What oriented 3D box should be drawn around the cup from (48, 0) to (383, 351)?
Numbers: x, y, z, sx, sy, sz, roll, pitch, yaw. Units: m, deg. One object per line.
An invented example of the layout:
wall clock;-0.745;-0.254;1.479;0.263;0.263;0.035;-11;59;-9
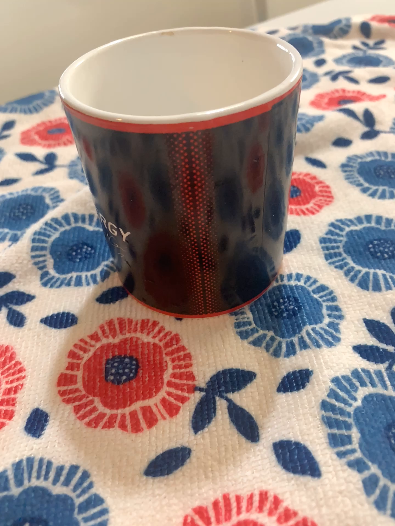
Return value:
cup;0.001;-0.043;0.169;0.080;0.089;0.111;-8;44;-3
